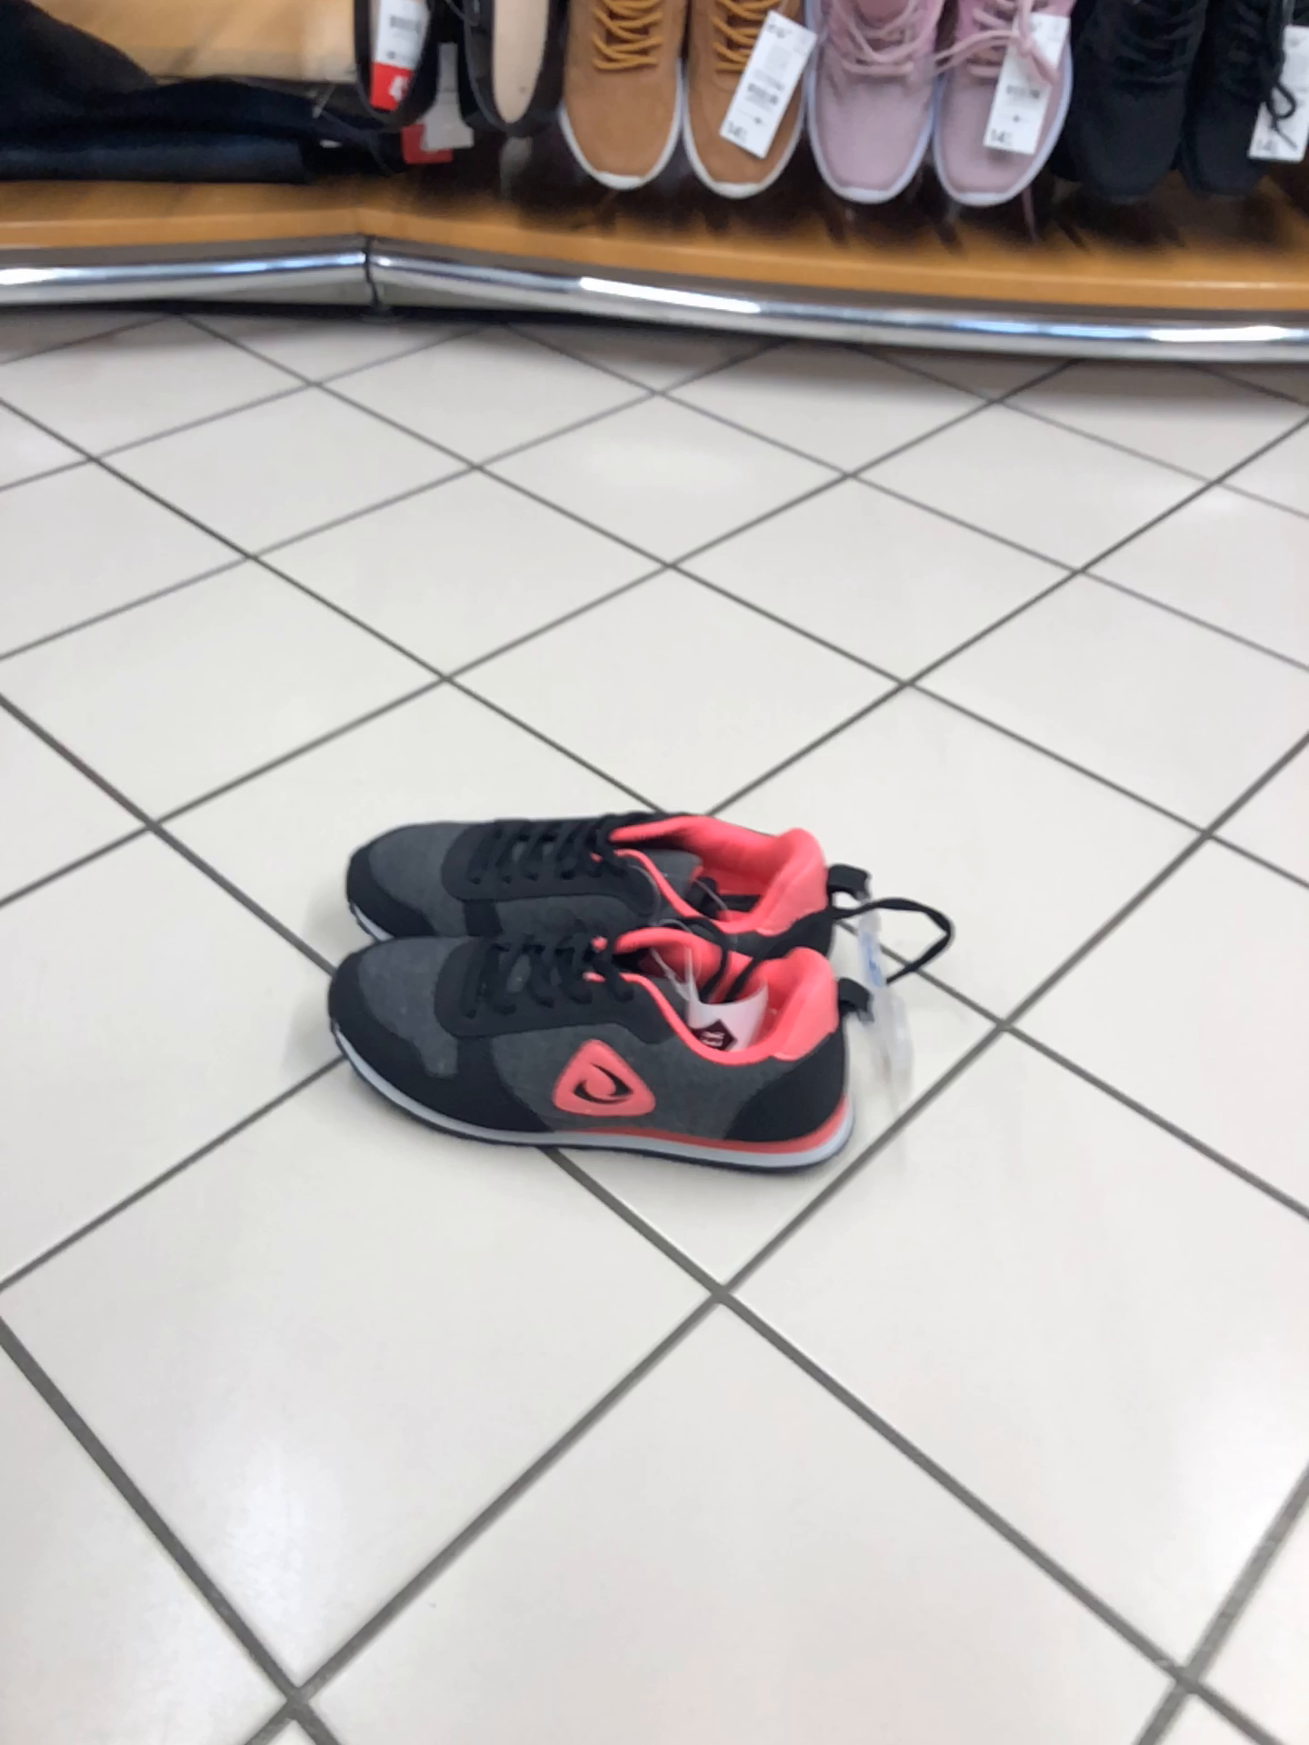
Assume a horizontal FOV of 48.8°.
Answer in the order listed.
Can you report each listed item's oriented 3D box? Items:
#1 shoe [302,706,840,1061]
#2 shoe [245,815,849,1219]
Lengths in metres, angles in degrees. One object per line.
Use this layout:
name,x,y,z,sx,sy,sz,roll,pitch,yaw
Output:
shoe,-0.034,0.003,0.660,0.220,0.099,0.091,7,41,5
shoe,-0.039,0.058,0.596,0.220,0.099,0.091,8,41,6
